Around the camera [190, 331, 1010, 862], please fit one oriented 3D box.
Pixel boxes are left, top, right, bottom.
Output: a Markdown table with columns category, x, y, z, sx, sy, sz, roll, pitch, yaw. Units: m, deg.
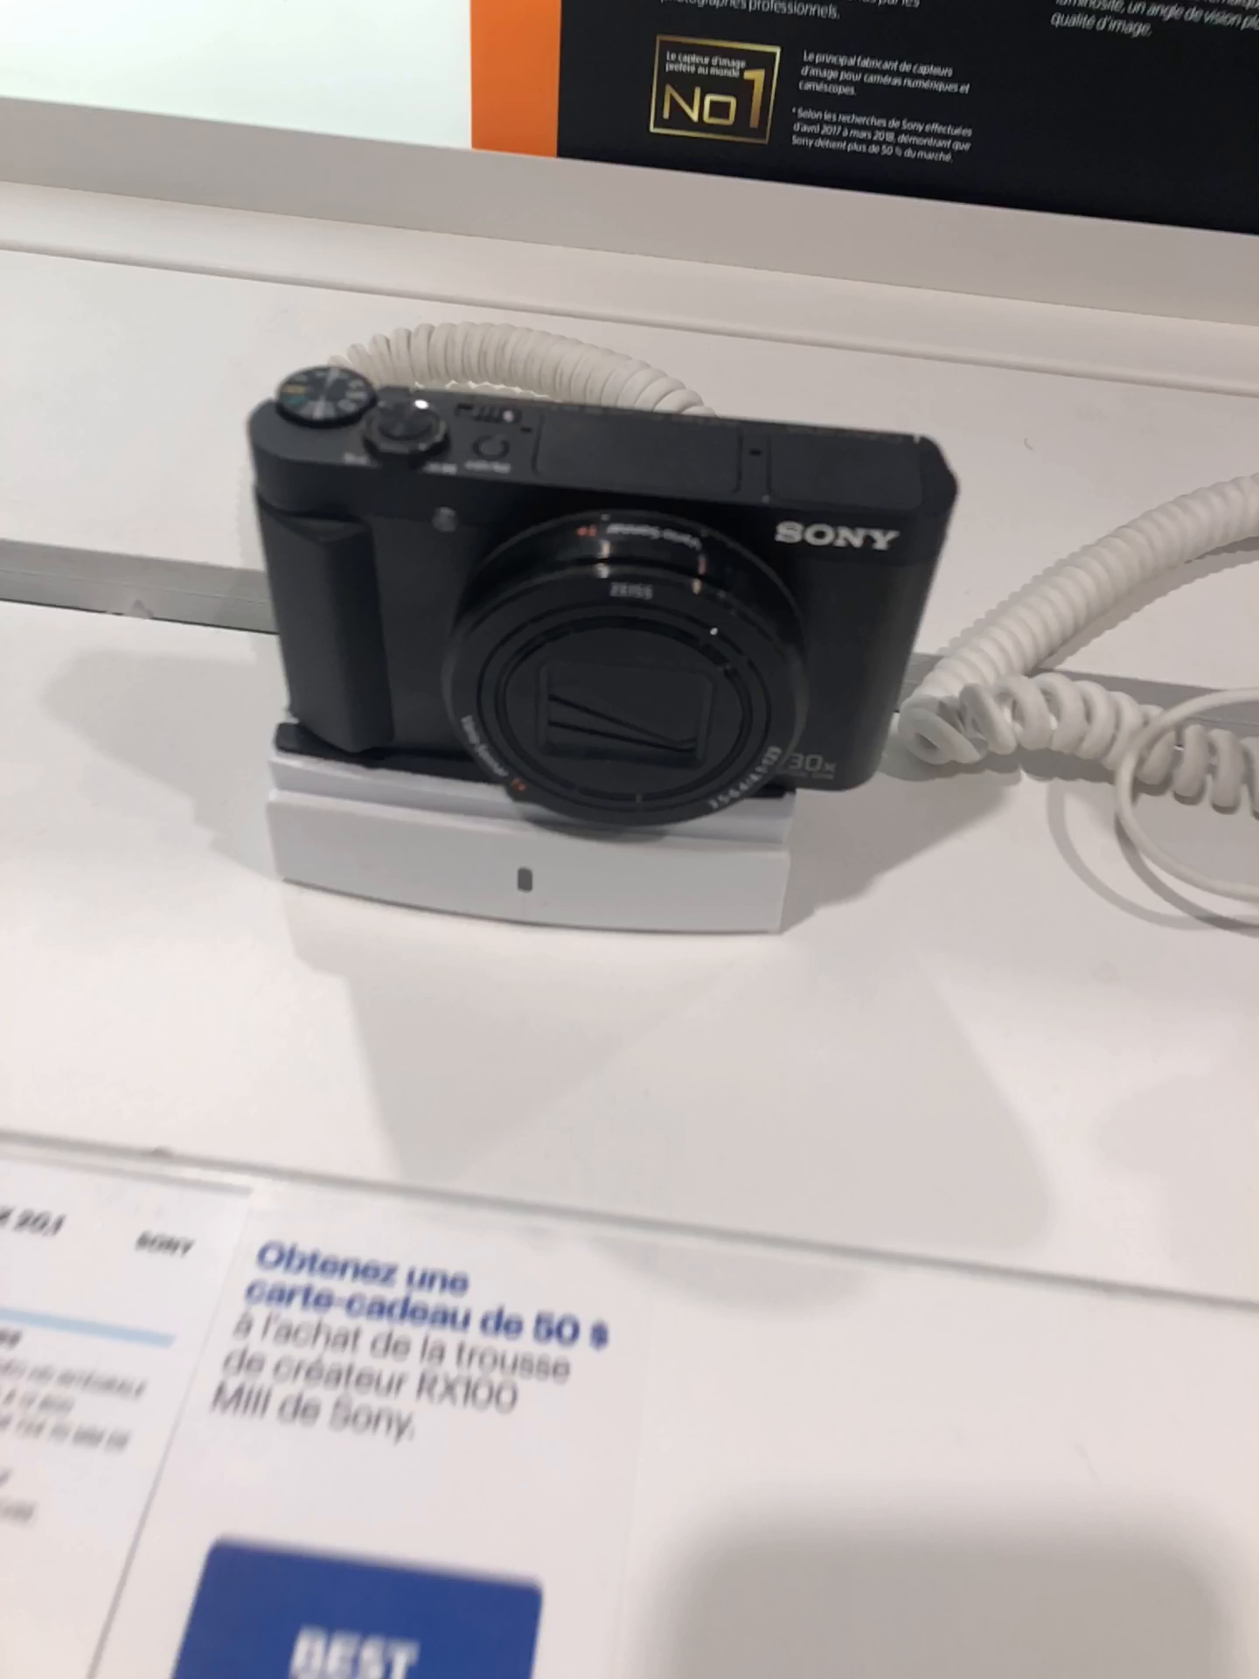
| category | x | y | z | sx | sy | sz | roll | pitch | yaw |
| --- | --- | --- | --- | --- | --- | --- | --- | --- | --- |
| camera | -0.005 | -0.036 | 0.222 | 0.110 | 0.069 | 0.030 | 5 | 46 | 0 |
